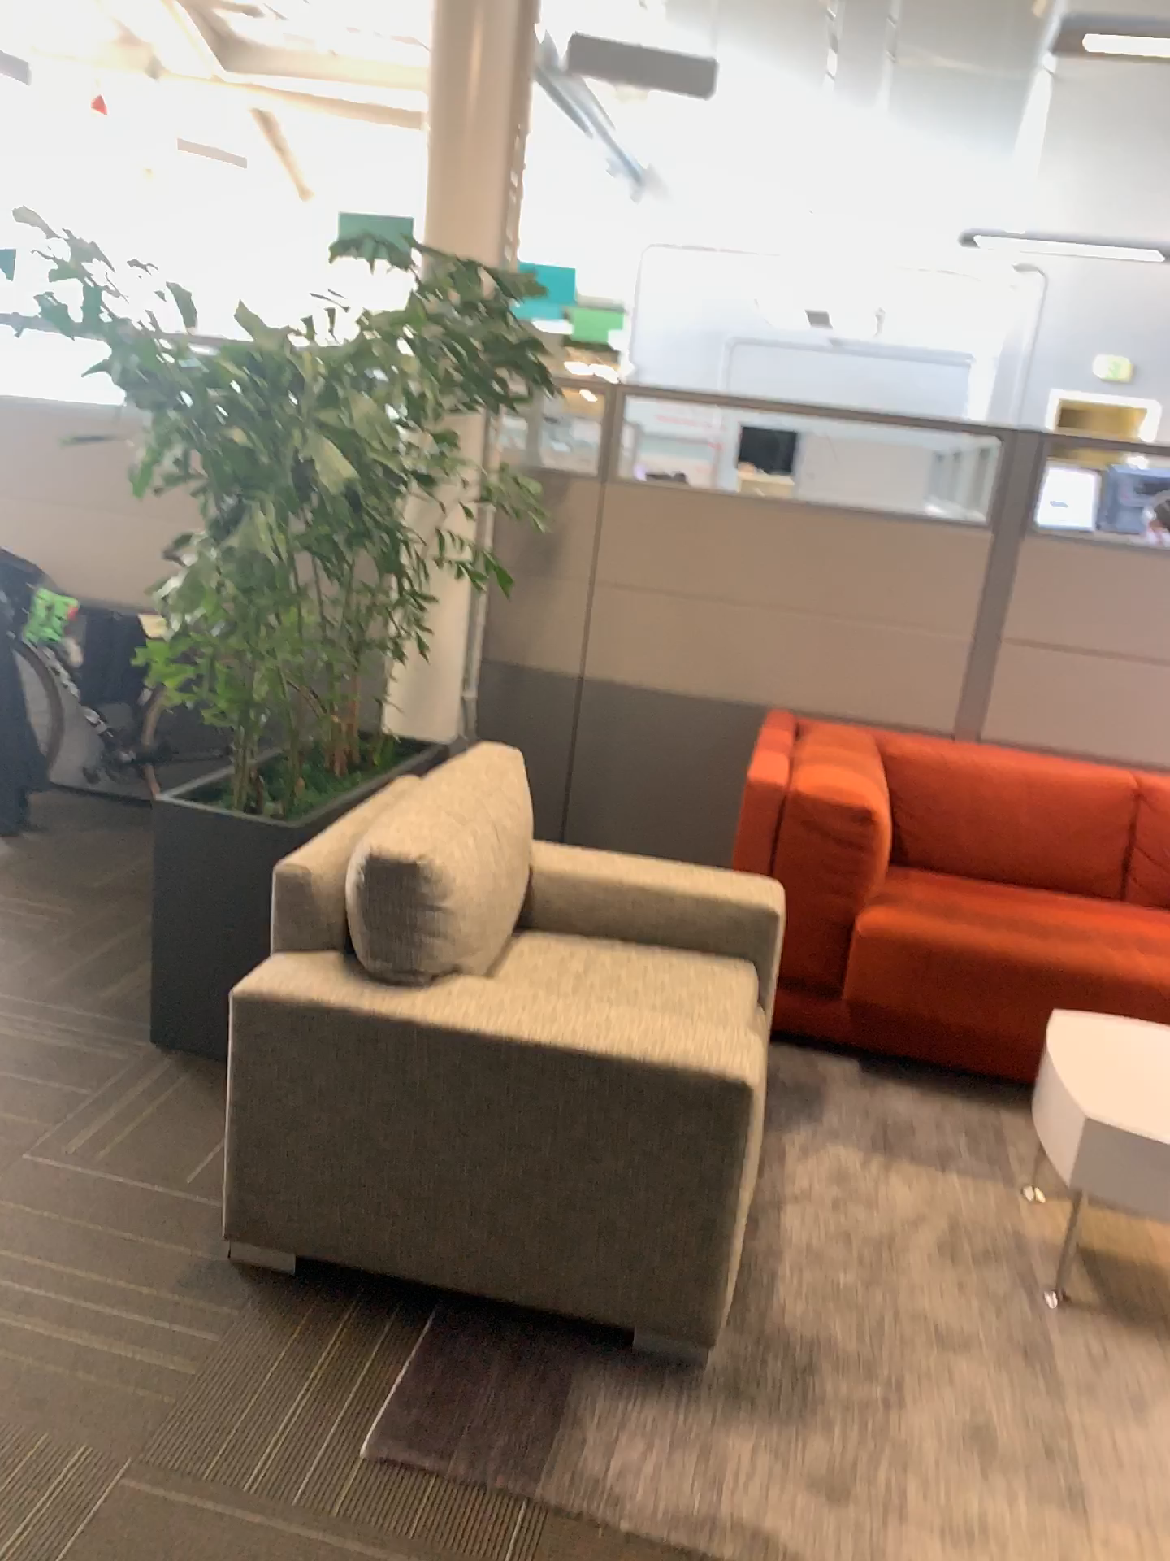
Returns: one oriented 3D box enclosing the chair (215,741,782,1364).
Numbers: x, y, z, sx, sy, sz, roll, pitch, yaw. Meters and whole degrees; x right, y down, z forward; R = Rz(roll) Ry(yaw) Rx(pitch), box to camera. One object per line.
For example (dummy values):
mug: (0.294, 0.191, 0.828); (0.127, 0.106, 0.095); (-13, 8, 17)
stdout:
chair: (-0.106, 0.440, 2.400); (0.870, 0.727, 0.923); (9, 16, 8)
